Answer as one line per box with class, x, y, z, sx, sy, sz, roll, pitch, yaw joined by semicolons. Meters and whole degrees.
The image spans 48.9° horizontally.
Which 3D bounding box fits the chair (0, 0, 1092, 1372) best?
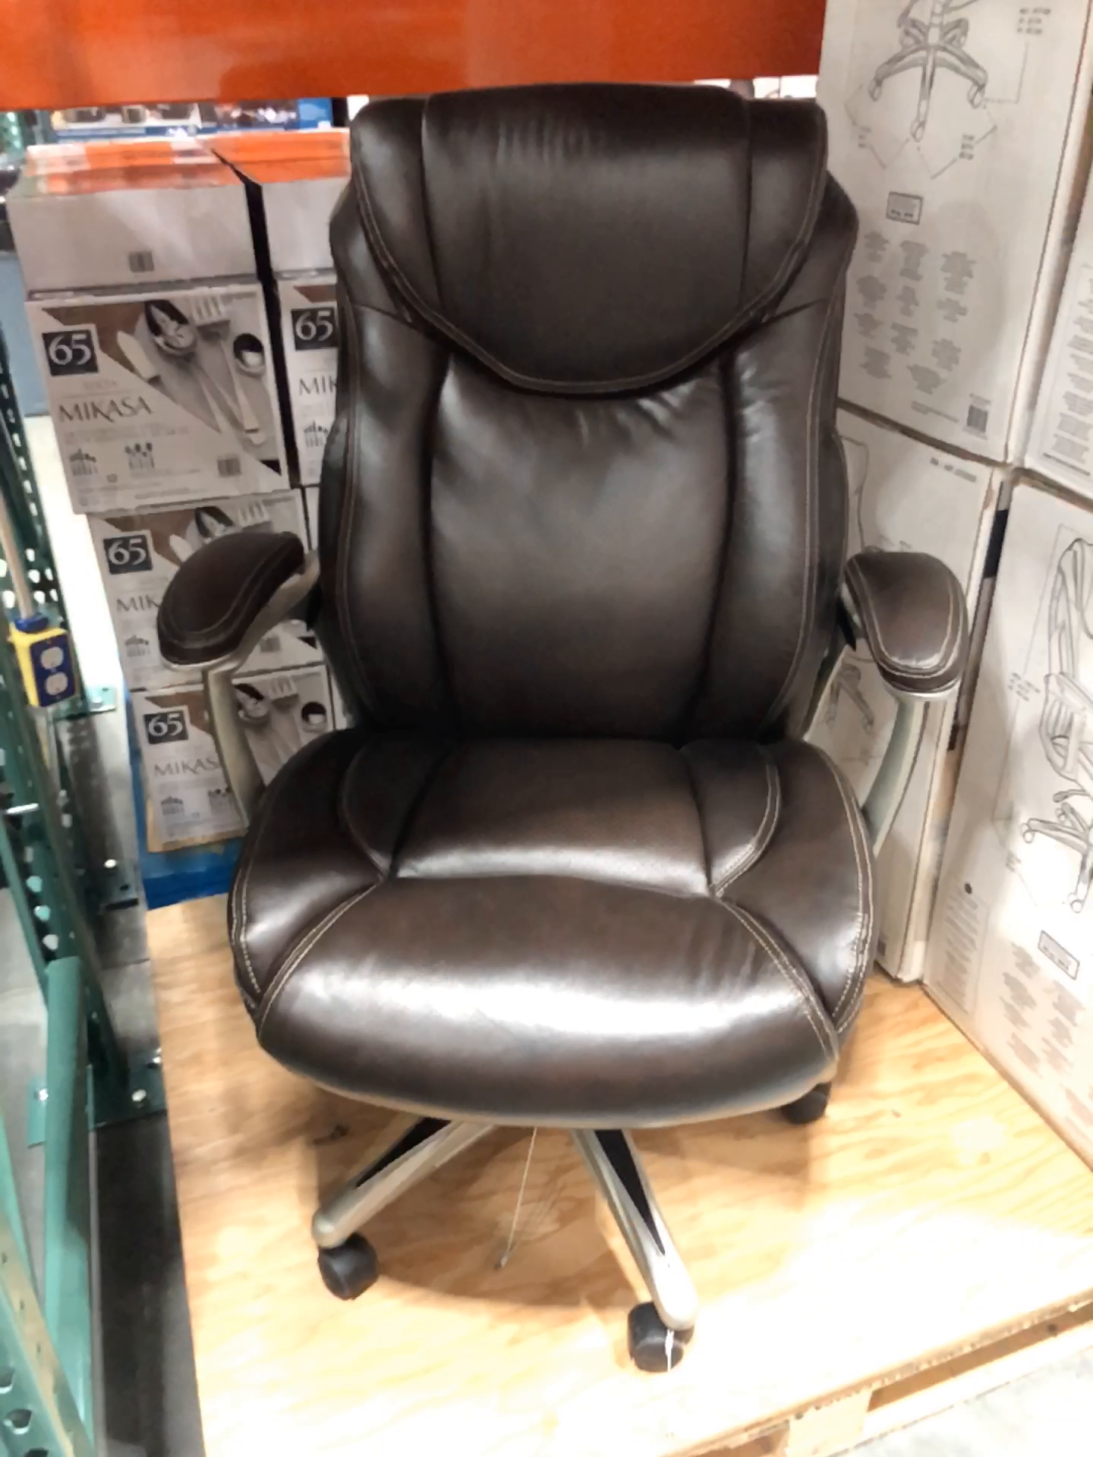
chair;0.000;-0.061;1.173;0.660;1.095;0.723;-2;30;-1
